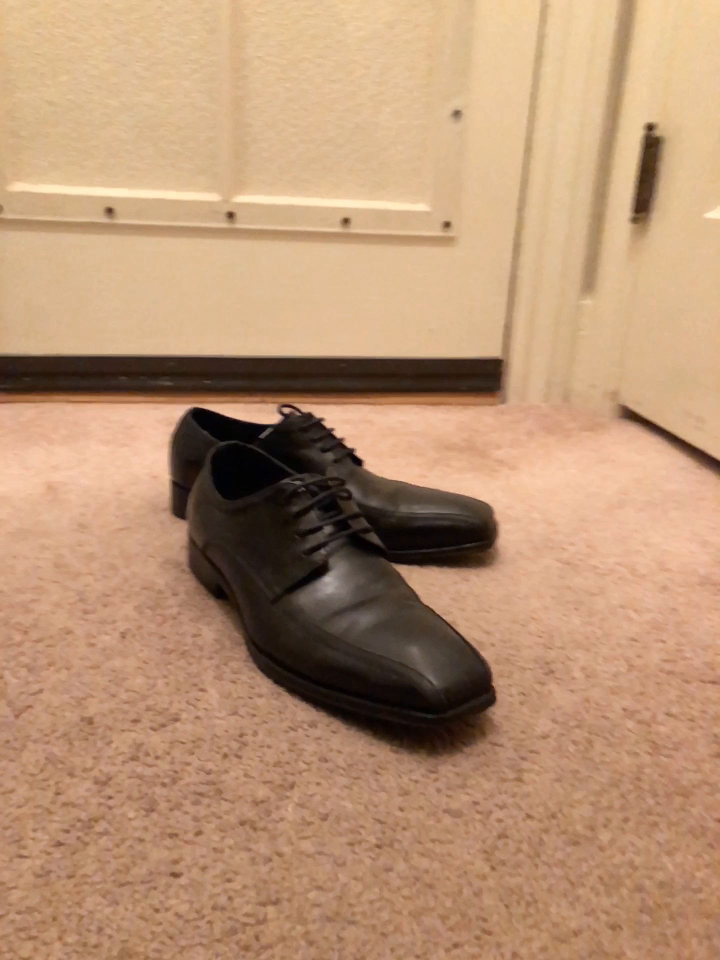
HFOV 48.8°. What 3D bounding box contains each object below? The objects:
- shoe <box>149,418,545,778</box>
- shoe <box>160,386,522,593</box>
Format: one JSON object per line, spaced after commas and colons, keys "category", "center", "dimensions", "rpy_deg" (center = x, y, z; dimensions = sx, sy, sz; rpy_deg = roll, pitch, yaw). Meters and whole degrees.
{"category": "shoe", "center": [-0.029, 0.052, 0.532], "dimensions": [0.110, 0.107, 0.284], "rpy_deg": [-12, 25, -36]}
{"category": "shoe", "center": [-0.017, -0.002, 0.715], "dimensions": [0.297, 0.110, 0.116], "rpy_deg": [9, 21, 16]}
